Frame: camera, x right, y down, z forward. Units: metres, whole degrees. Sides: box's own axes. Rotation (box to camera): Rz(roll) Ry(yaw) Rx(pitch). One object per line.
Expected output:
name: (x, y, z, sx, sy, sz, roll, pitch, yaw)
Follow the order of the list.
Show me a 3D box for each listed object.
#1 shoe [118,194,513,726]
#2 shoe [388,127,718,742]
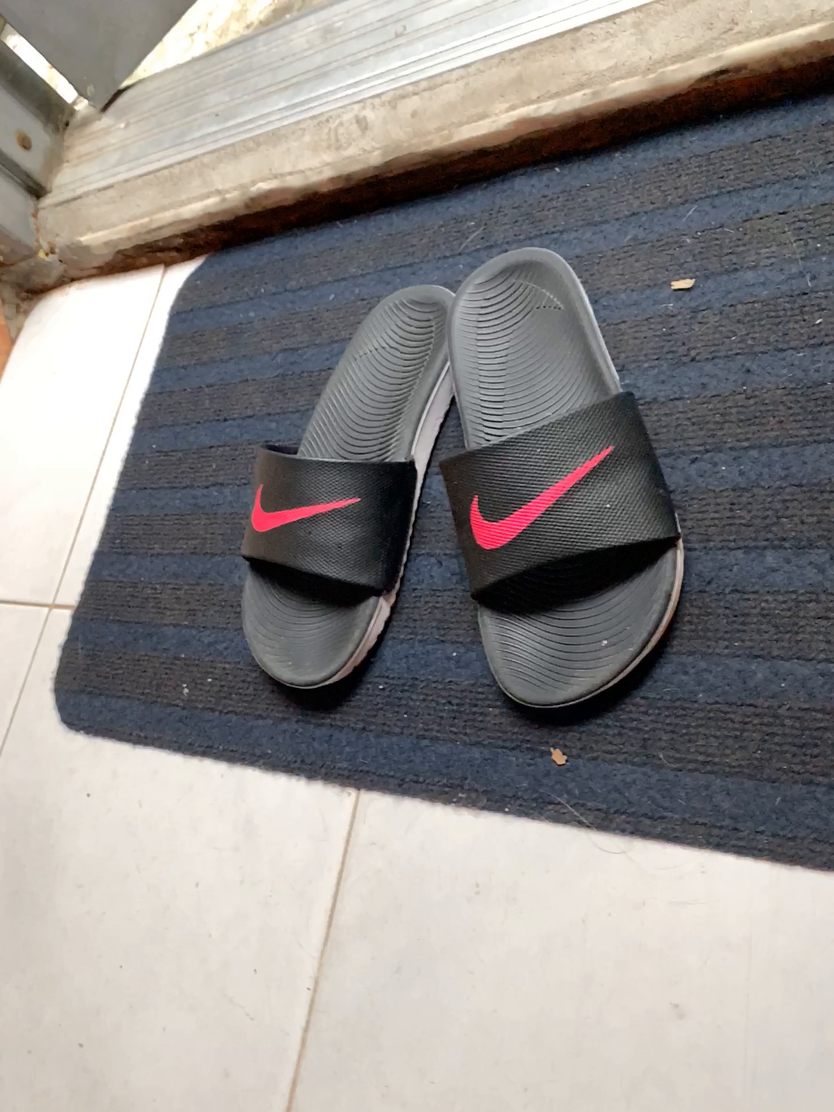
shoe: (-0.046, -0.053, 0.447, 0.099, 0.078, 0.251, 11, 75, 35)
shoe: (0.053, -0.056, 0.386, 0.099, 0.078, 0.251, -16, 61, 26)
